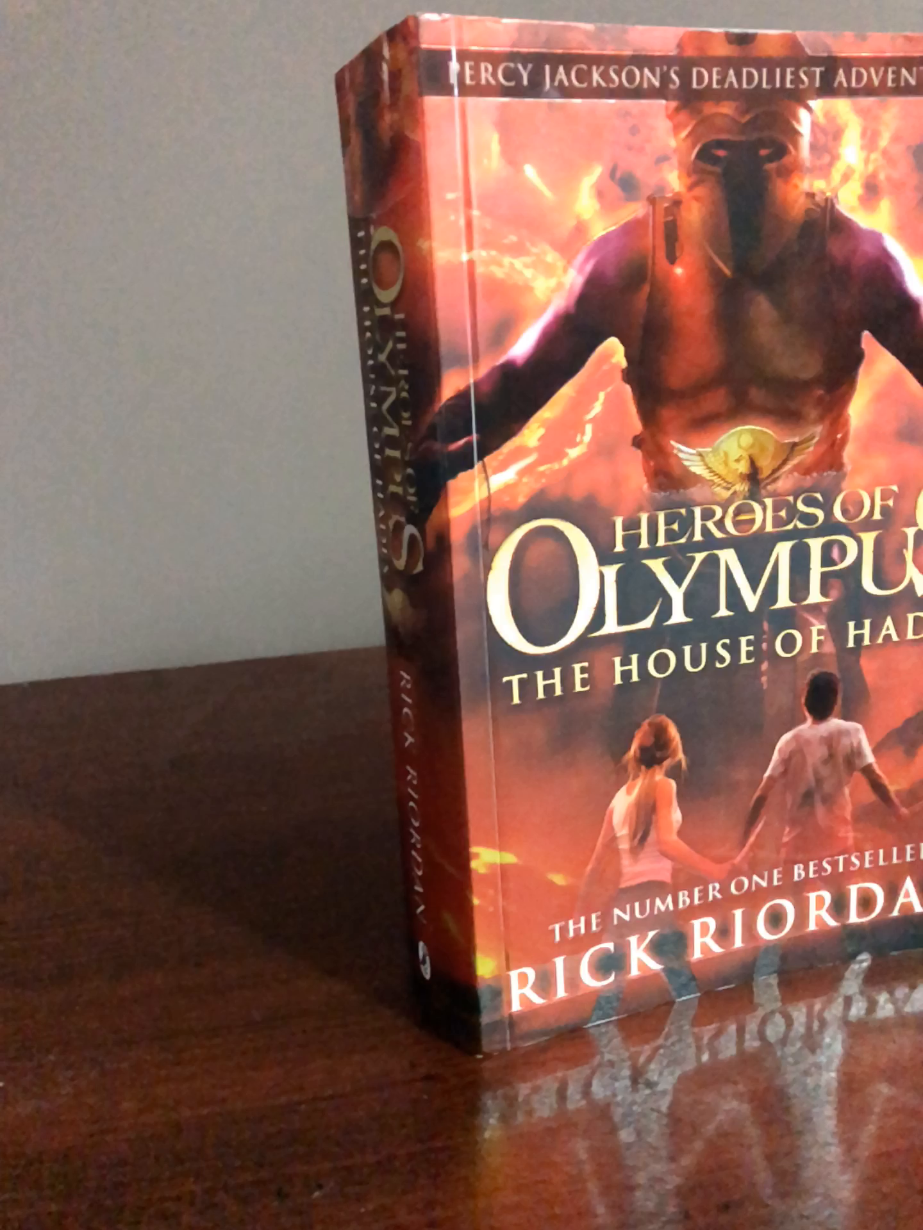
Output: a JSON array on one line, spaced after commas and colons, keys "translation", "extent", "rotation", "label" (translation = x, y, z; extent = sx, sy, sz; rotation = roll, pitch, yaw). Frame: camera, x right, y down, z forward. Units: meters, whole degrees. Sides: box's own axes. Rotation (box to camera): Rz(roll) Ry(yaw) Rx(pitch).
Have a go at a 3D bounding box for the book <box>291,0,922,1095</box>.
[{"translation": [0.045, -0.016, 0.229], "extent": [0.140, 0.199, 0.060], "rotation": [-7, 16, -18], "label": "book"}]
